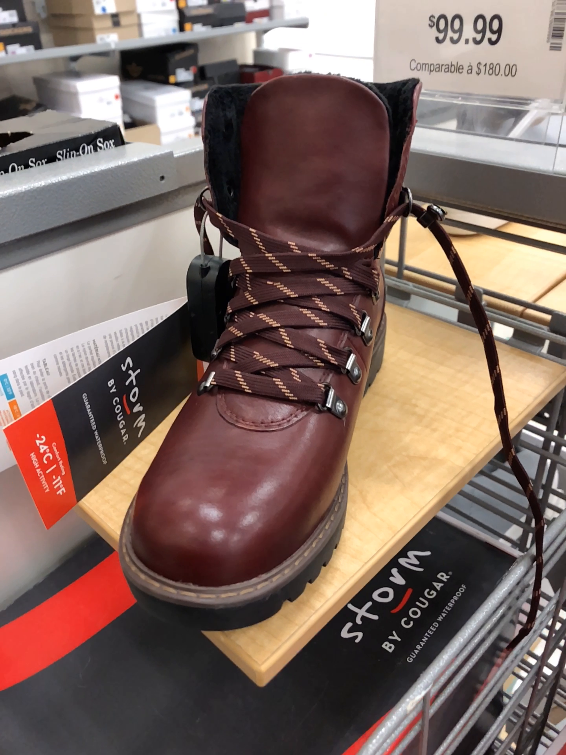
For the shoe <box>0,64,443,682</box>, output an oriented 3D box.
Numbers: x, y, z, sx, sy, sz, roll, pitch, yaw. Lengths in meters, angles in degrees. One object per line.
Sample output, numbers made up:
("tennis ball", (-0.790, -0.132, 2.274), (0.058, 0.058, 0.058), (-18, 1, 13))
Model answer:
("shoe", (-0.004, -0.032, 0.285), (0.107, 0.169, 0.232), (9, 35, 17))
